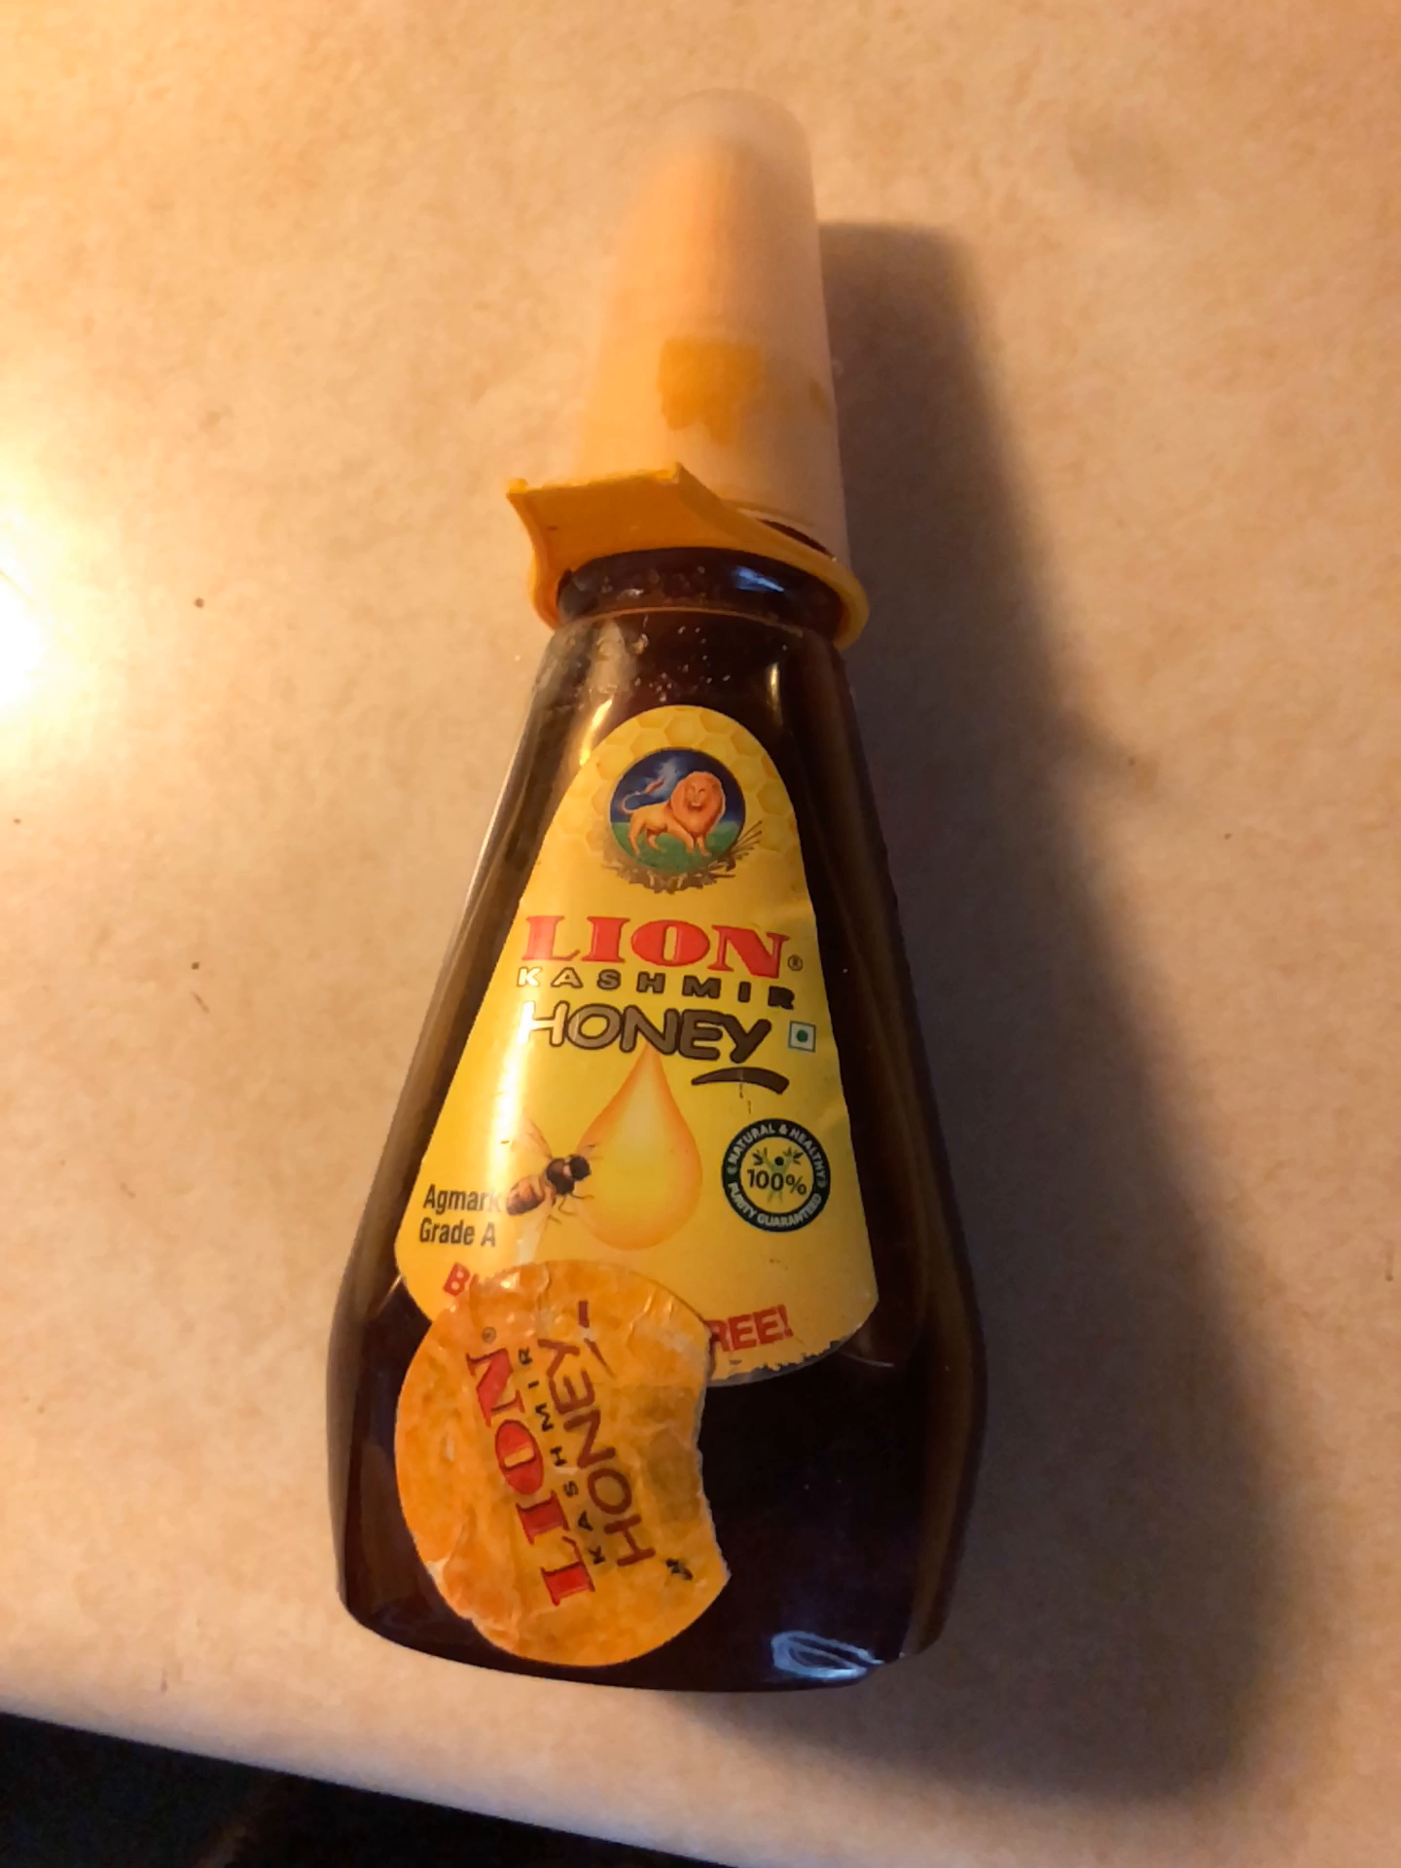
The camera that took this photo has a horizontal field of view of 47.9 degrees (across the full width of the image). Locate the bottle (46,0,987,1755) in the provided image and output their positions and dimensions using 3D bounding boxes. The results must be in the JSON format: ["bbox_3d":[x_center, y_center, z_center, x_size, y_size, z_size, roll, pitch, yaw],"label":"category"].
[{"bbox_3d":[-0.013,-0.016,0.190,0.090,0.050,0.190,1,81,10],"label":"bottle"}]
